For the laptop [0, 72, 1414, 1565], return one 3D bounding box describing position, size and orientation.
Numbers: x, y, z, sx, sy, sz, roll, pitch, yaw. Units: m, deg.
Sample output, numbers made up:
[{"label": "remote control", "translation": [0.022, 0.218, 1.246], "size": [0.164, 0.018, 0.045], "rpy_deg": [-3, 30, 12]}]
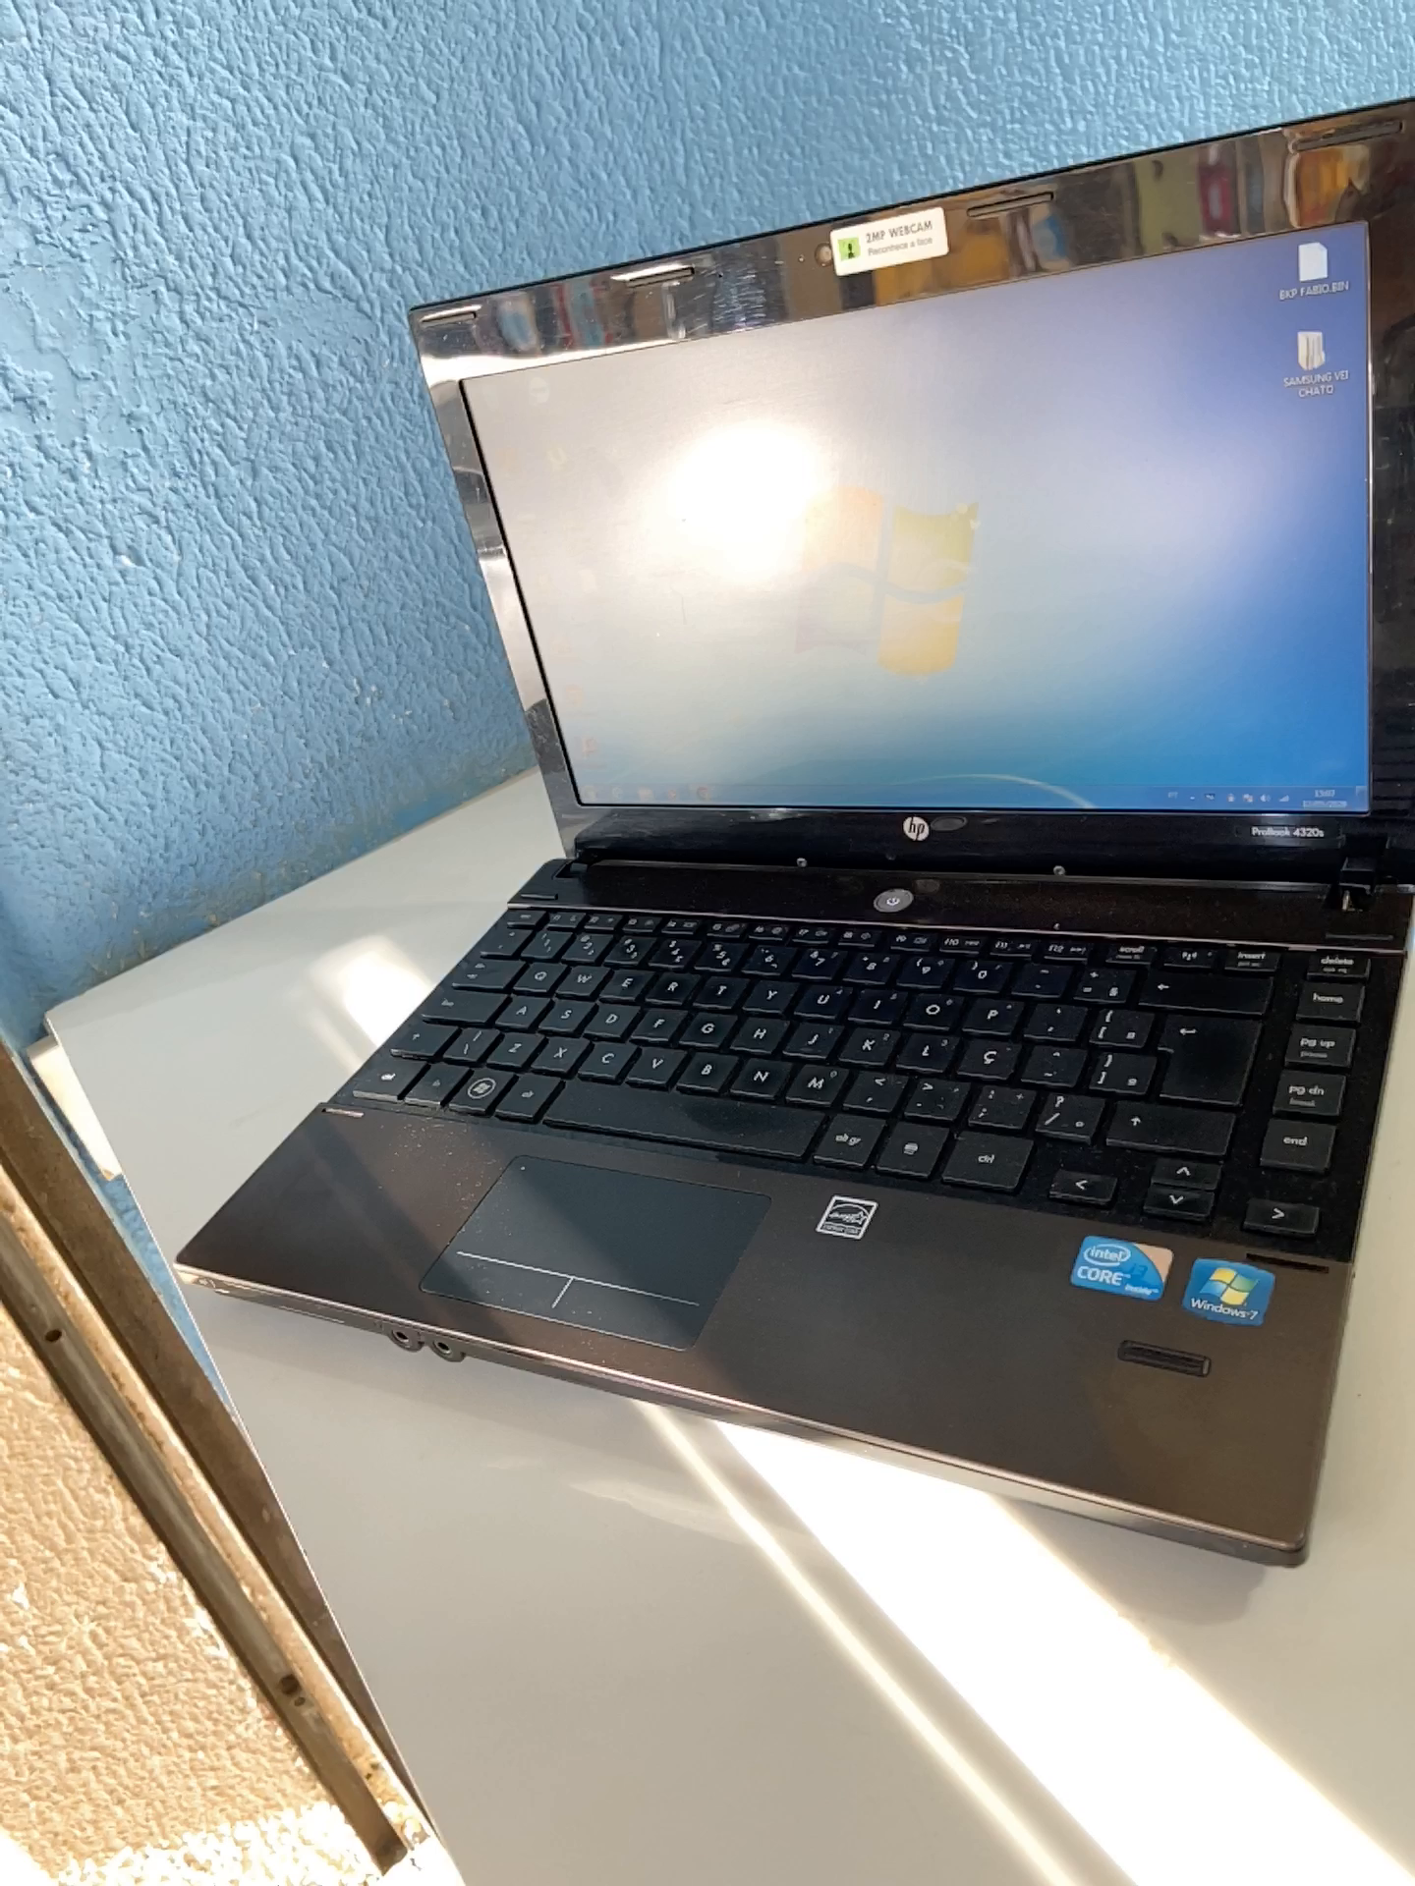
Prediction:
[{"label": "laptop", "translation": [0.006, -0.054, 0.396], "size": [0.322, 0.207, 0.260], "rpy_deg": [3, 36, 32]}]
